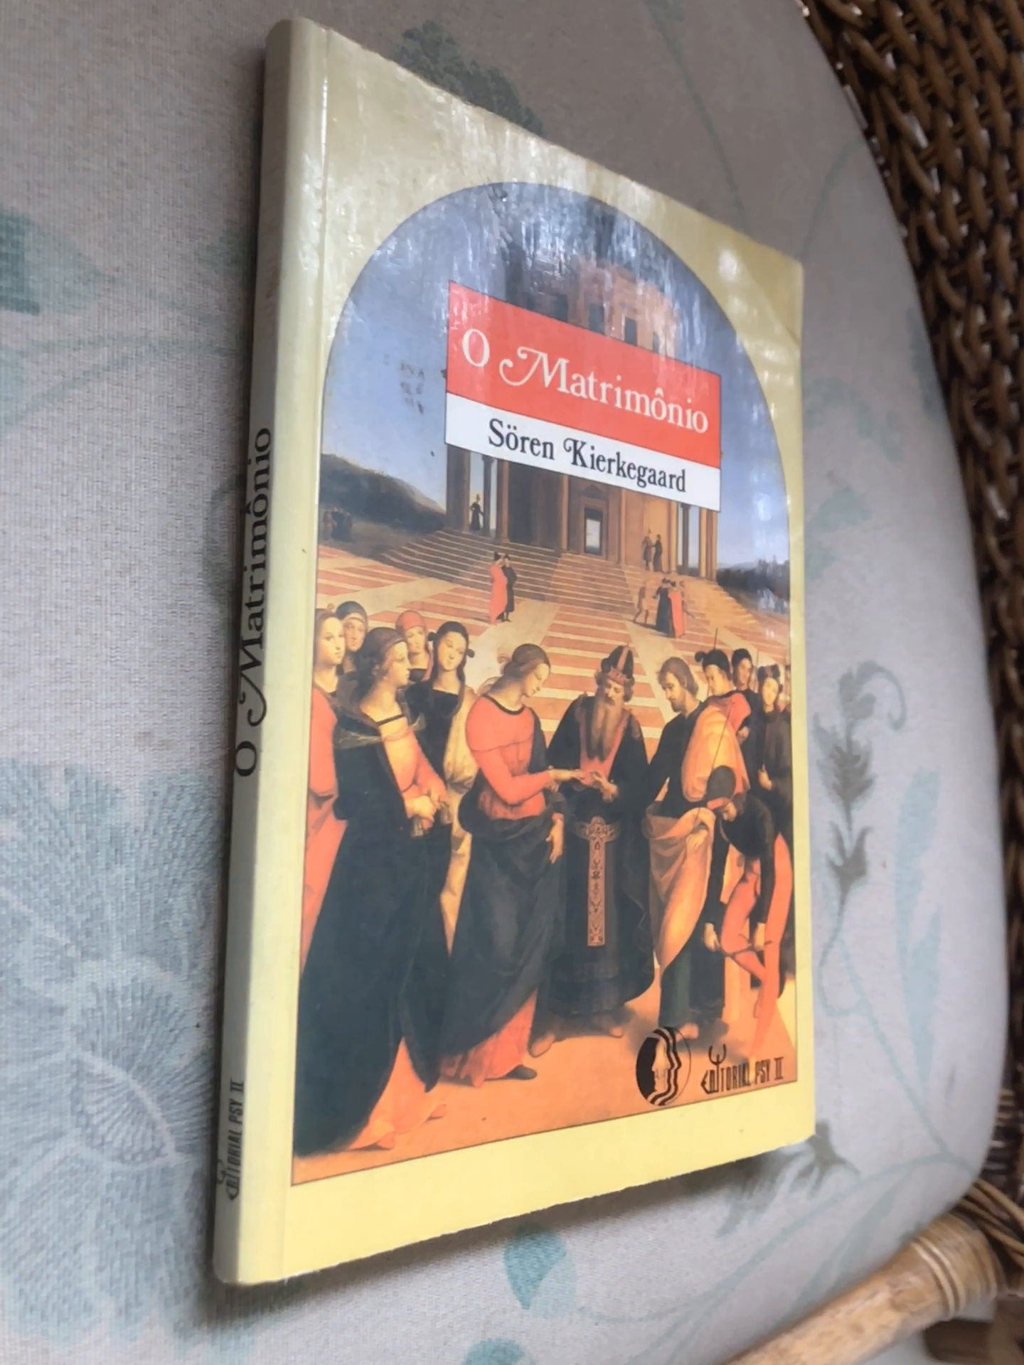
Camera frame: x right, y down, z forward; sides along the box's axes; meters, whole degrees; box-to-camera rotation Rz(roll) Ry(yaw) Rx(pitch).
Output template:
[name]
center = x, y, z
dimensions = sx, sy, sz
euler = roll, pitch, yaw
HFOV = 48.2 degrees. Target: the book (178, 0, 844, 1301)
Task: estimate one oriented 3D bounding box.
[book]
center = 0.013, -0.005, 0.223
dimensions = 0.141, 0.020, 0.200
euler = 7, 82, -38
